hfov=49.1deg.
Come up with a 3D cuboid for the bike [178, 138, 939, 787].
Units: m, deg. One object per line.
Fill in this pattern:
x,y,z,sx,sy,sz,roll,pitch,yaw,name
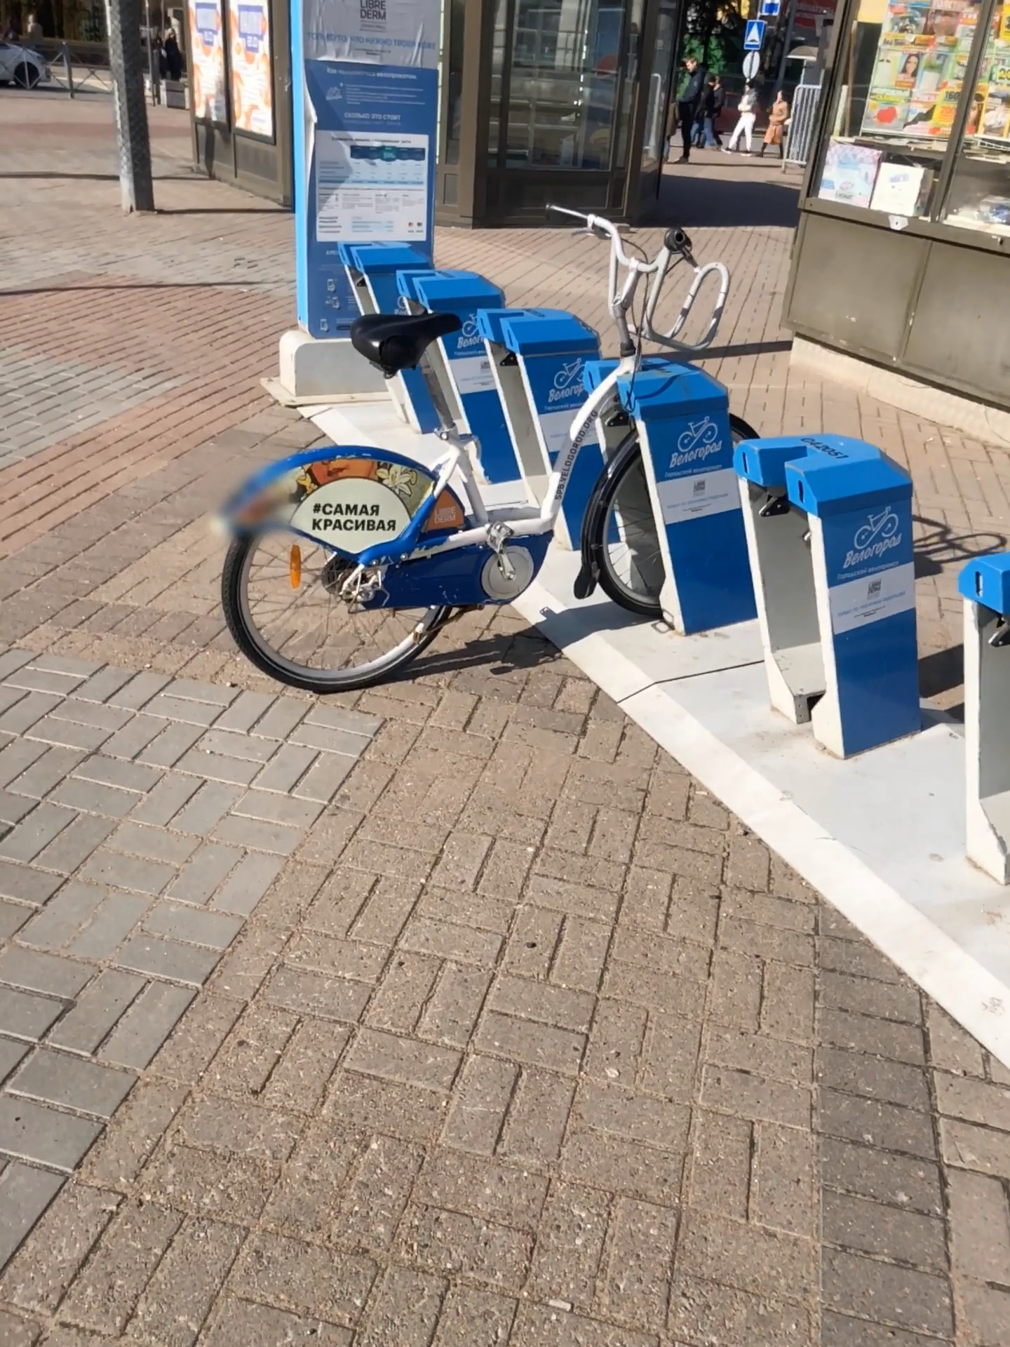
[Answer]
0.096,-0.609,2.808,1.628,1.204,0.598,-13,33,-23,bike
